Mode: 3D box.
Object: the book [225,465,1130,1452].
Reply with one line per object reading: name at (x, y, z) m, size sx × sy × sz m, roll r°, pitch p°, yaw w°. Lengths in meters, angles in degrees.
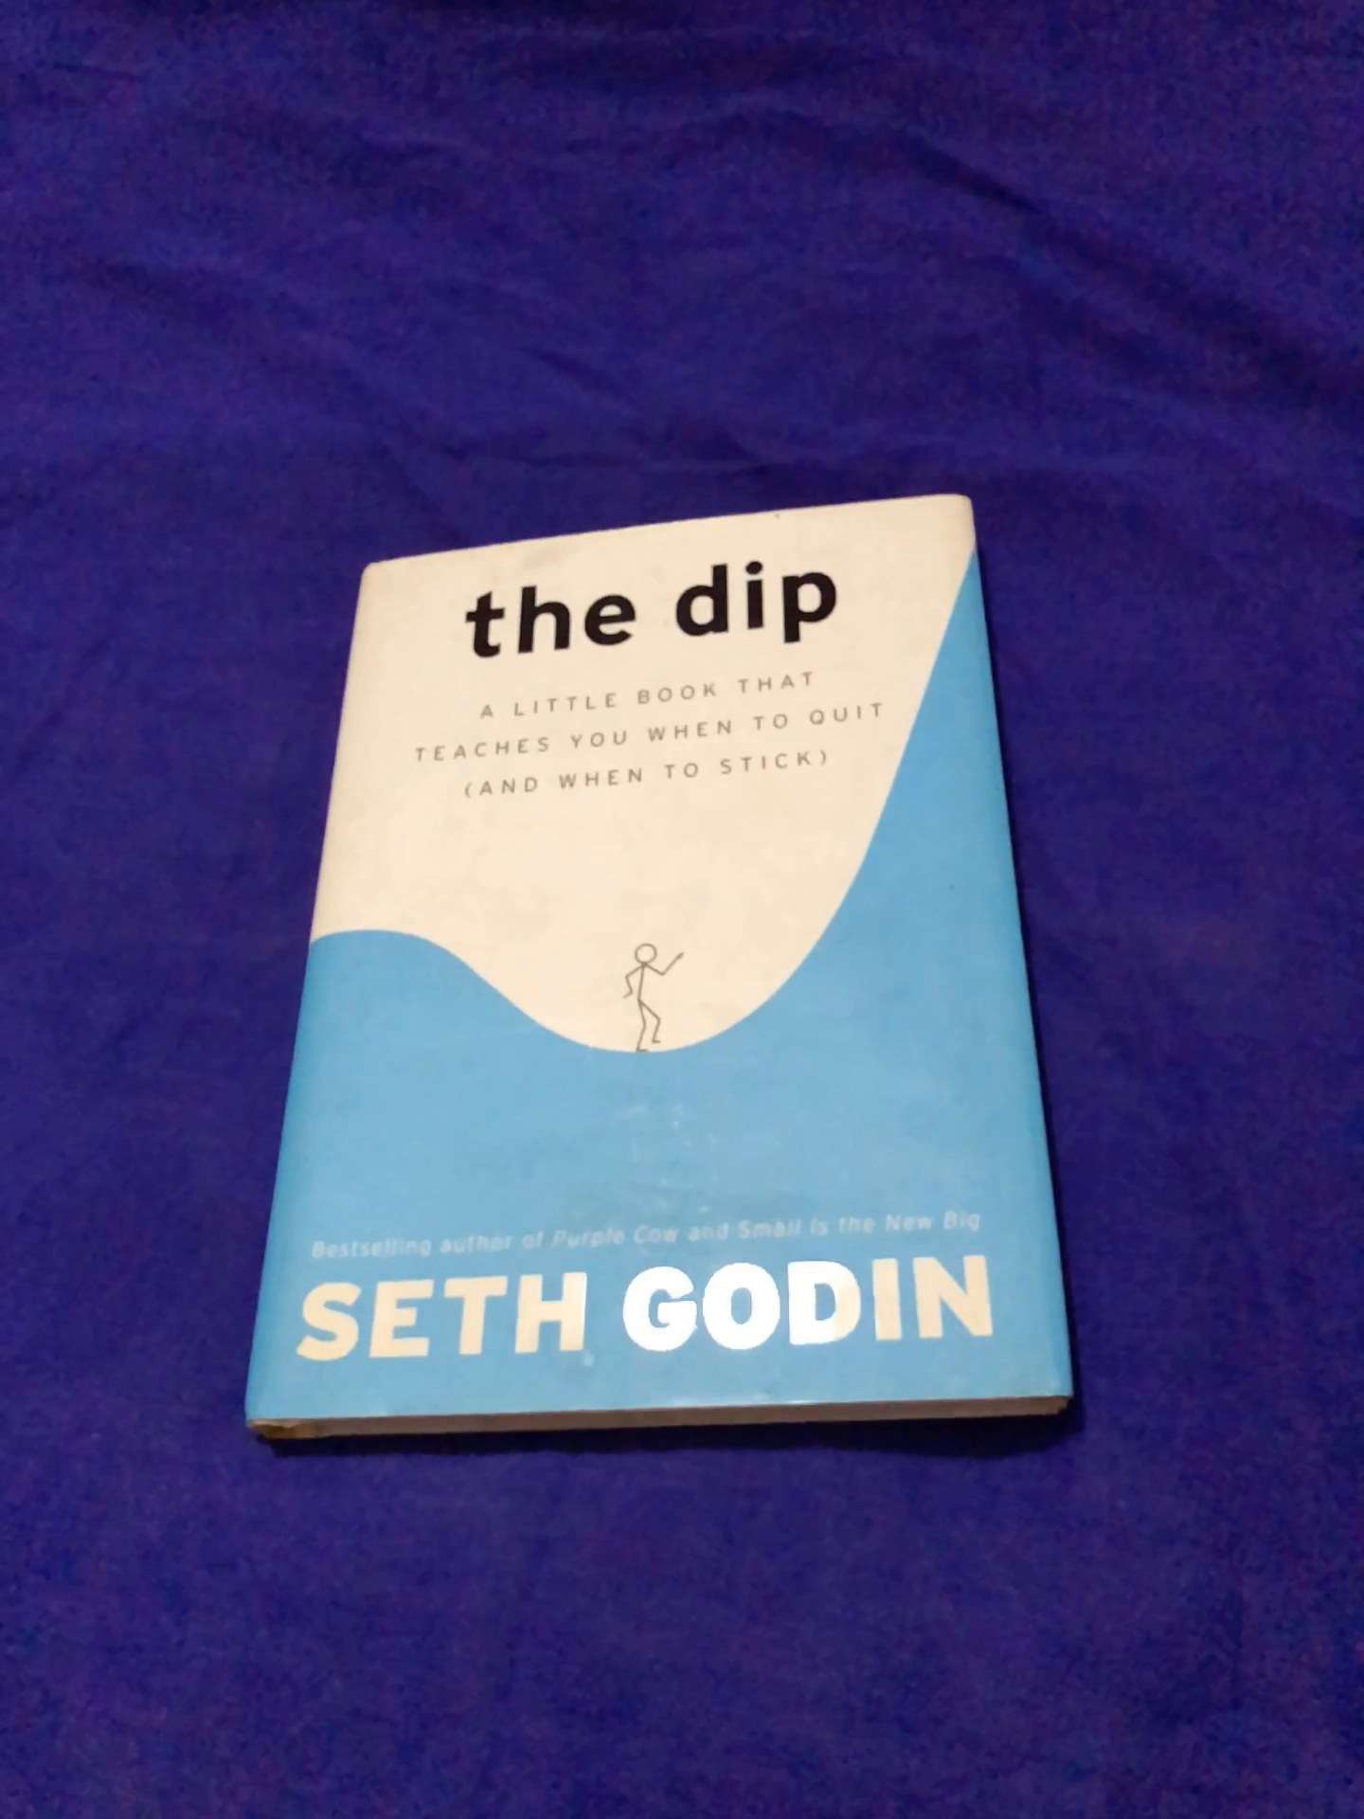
book at (-0.003, -0.001, 0.290) m, size 0.140 × 0.020 × 0.190 m, roll -5°, pitch 59°, yaw 7°
